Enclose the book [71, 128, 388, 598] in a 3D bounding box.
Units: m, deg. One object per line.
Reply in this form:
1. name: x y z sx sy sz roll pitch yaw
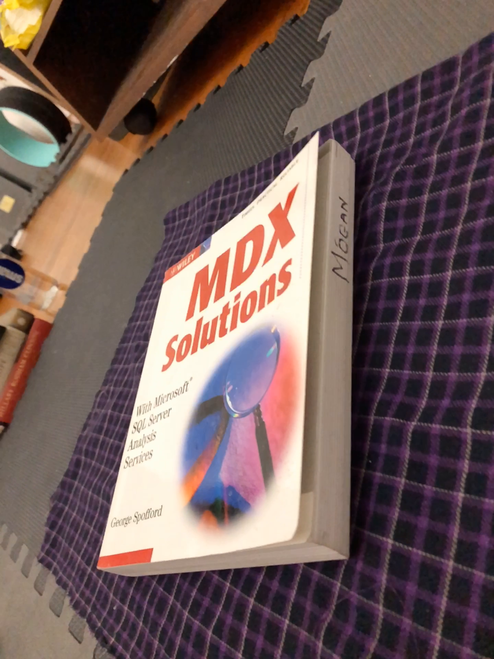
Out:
1. book: -0.012 0.030 0.367 0.221 0.050 0.261 -31 40 44
